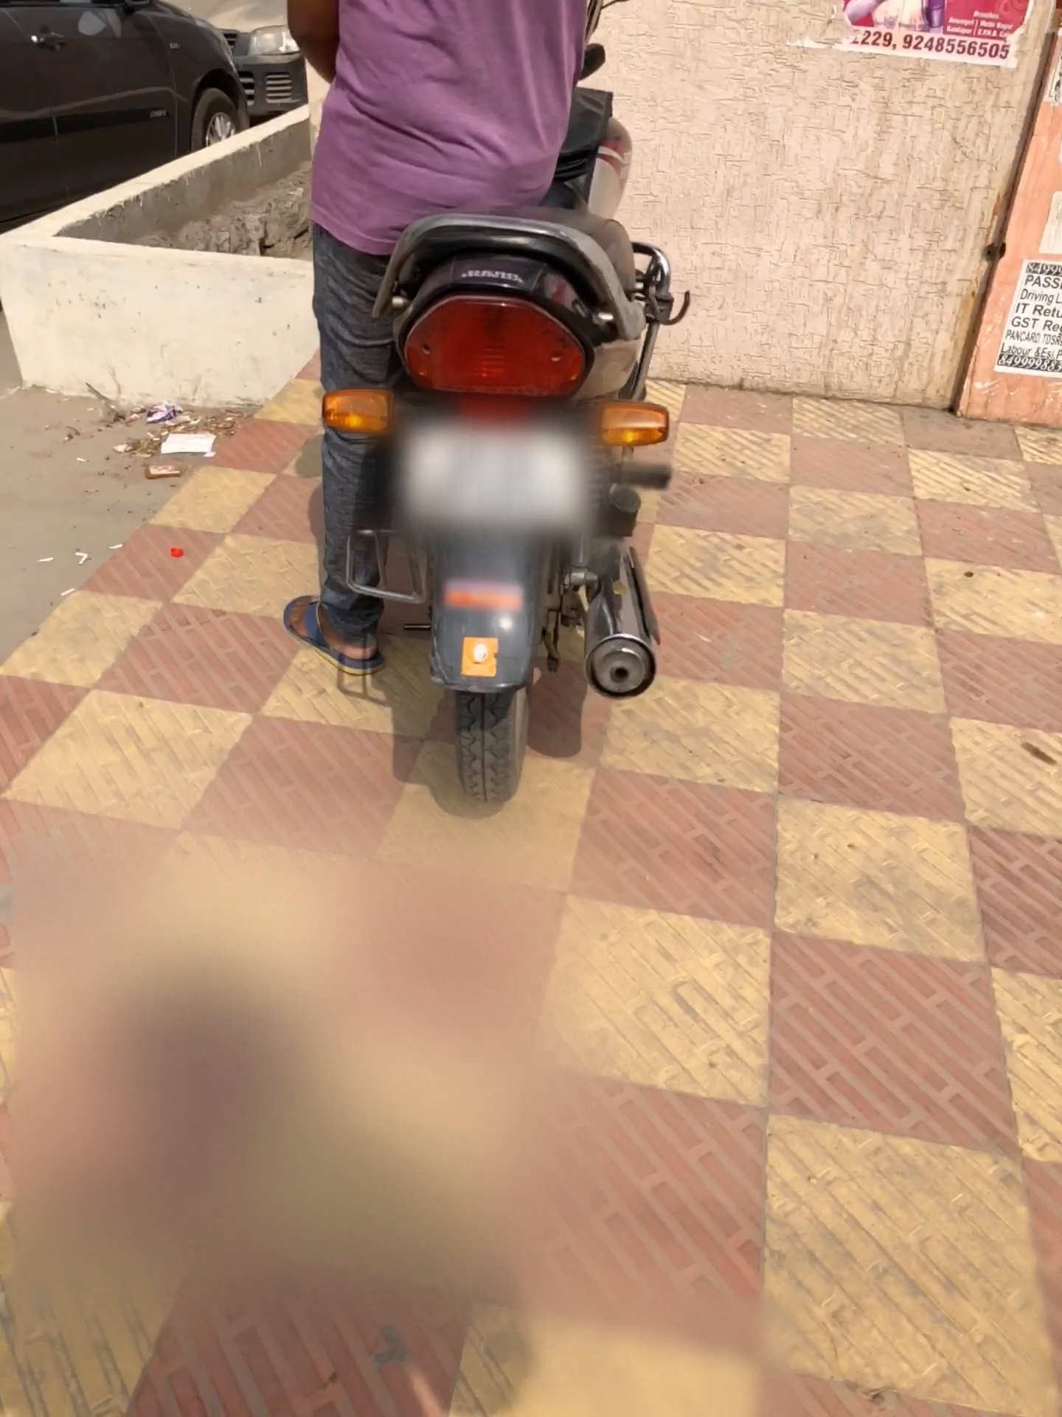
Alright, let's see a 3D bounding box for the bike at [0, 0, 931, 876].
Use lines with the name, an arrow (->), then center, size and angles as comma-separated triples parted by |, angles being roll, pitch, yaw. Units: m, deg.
bike -> -0.185, -0.722, 2.080 | 0.892, 1.066, 1.733 | -1, 37, -5
